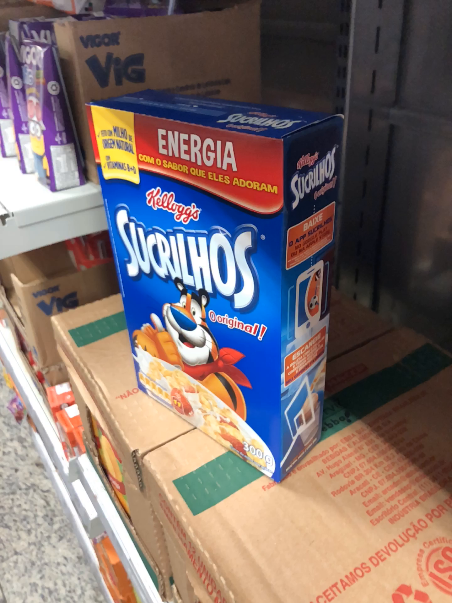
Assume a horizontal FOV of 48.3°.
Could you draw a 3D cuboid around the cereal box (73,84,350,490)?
[{"bbox_3d":[-0.009,-0.012,0.362,0.171,0.248,0.060,24,43,37],"label":"cereal box"}]
